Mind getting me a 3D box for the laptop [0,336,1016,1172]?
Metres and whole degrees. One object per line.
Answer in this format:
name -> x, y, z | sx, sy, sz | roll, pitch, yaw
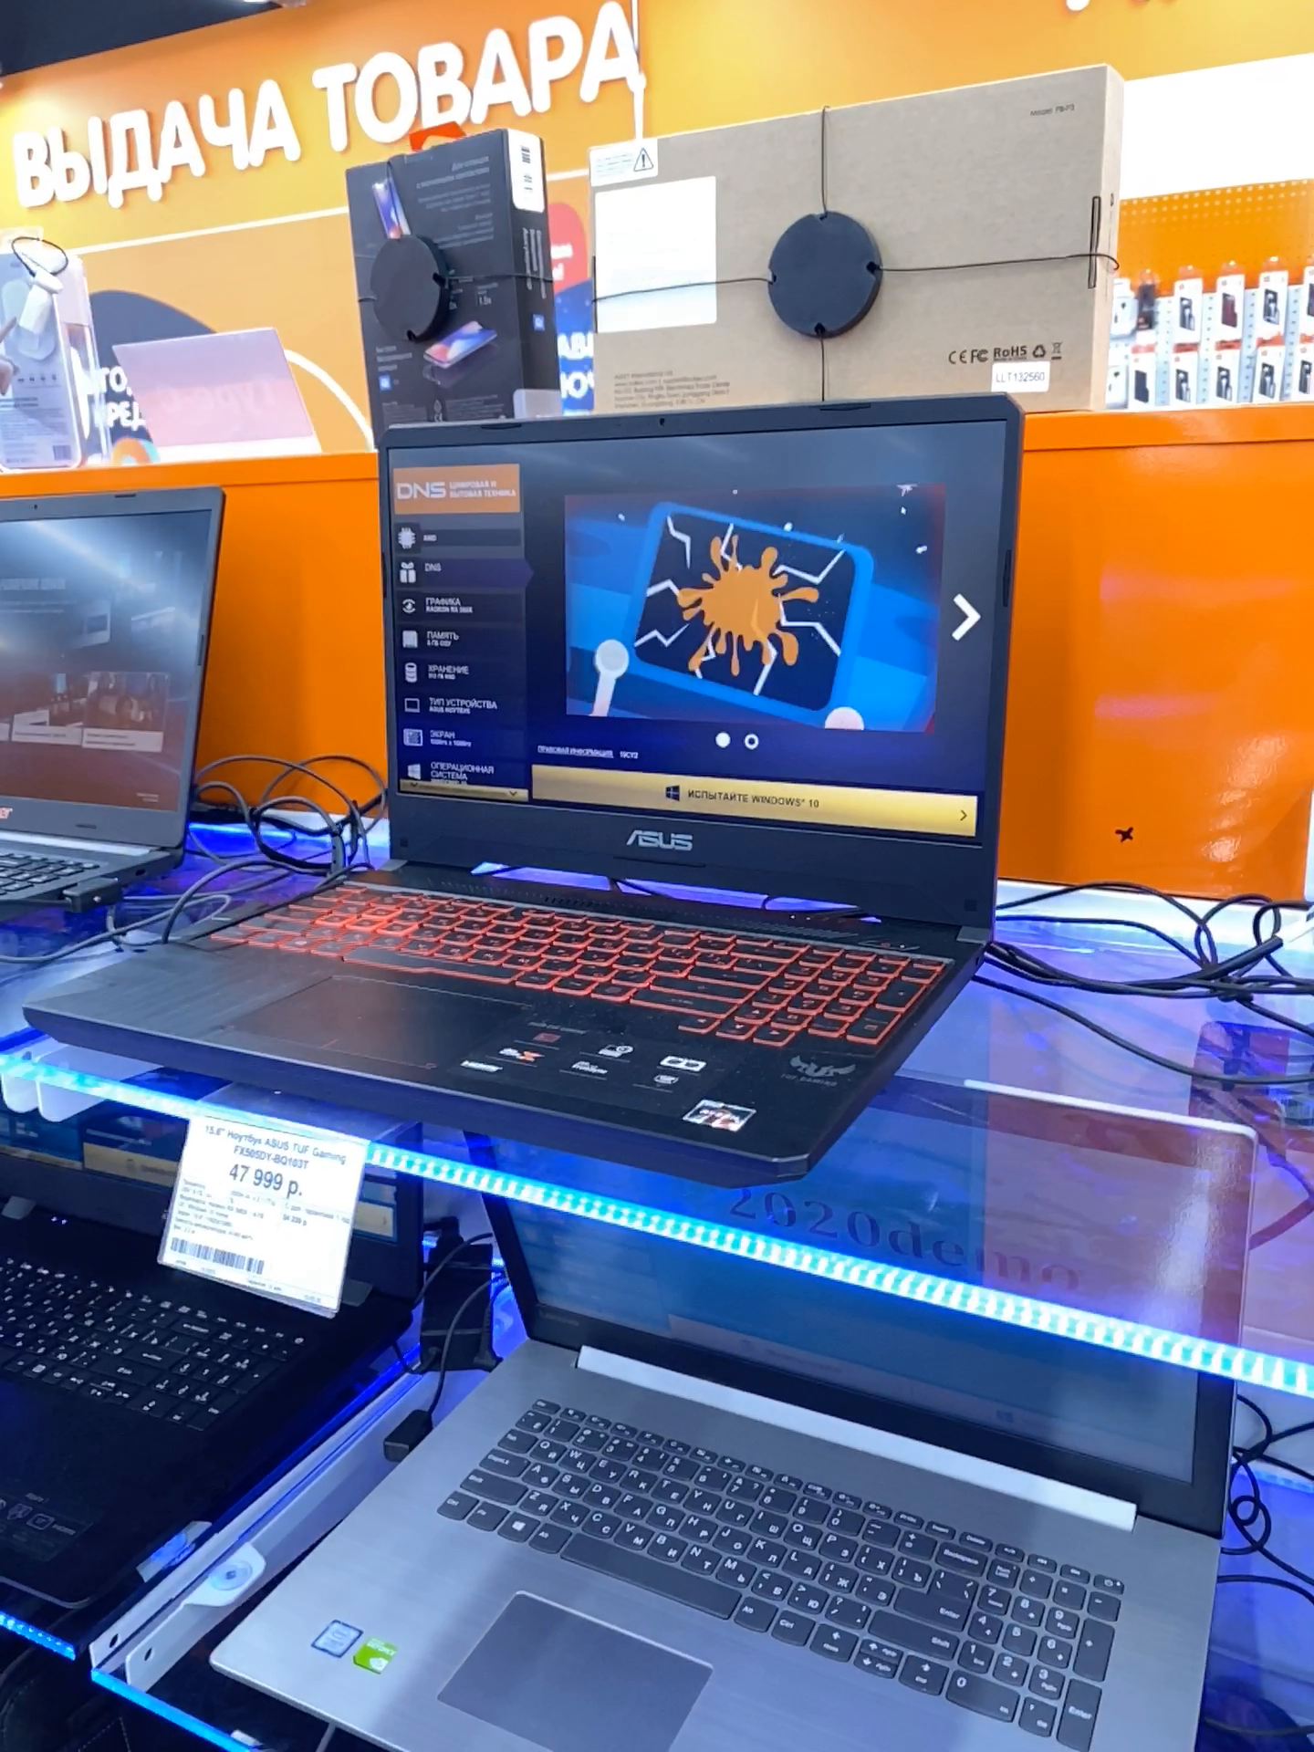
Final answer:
laptop -> -0.054, -0.080, 0.601 | 0.360, 0.248, 0.286 | 6, 16, 26
